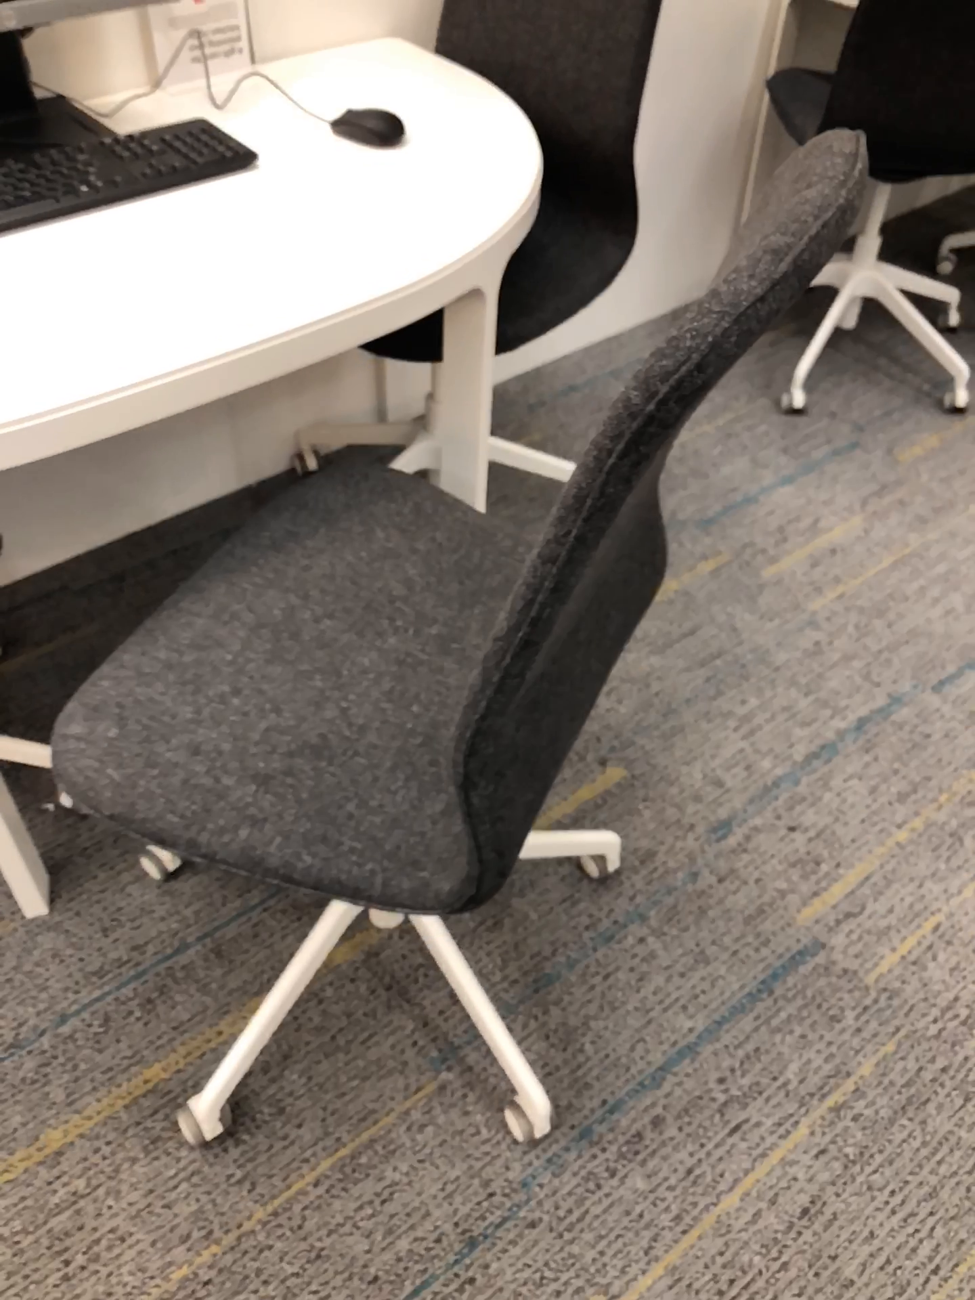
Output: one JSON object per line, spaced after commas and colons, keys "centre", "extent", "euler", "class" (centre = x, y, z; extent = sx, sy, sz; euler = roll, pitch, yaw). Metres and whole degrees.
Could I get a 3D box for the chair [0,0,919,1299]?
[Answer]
{"centre": [-0.133, 0.038, 1.009], "extent": [0.631, 0.994, 0.633], "euler": [21, 48, 18], "class": "chair"}
